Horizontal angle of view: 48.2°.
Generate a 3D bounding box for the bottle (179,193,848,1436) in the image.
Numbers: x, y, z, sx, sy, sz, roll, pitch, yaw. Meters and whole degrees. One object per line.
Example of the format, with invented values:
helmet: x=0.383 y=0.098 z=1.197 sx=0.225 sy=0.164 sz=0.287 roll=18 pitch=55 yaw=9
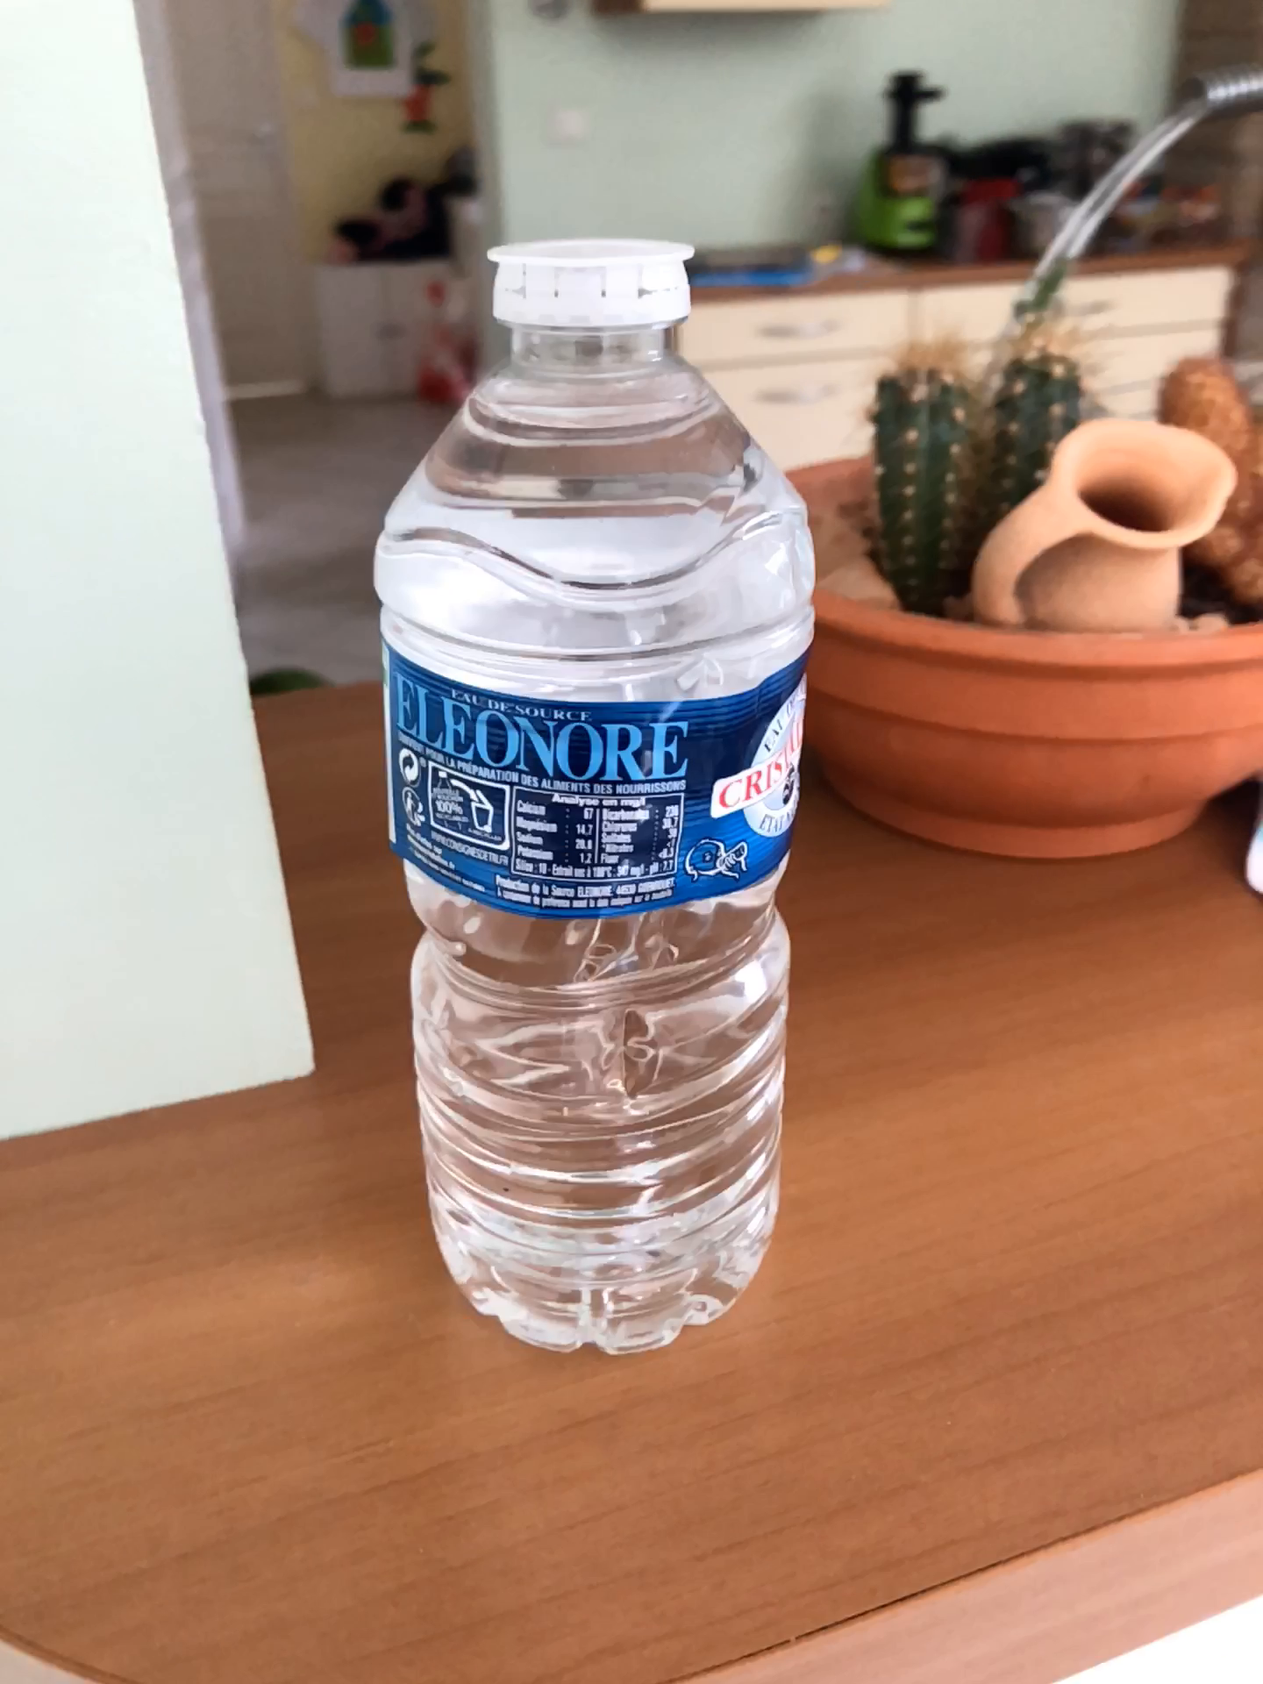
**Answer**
bottle: x=-0.010 y=-0.002 z=0.237 sx=0.070 sy=0.189 sz=0.070 roll=-1 pitch=28 yaw=0
